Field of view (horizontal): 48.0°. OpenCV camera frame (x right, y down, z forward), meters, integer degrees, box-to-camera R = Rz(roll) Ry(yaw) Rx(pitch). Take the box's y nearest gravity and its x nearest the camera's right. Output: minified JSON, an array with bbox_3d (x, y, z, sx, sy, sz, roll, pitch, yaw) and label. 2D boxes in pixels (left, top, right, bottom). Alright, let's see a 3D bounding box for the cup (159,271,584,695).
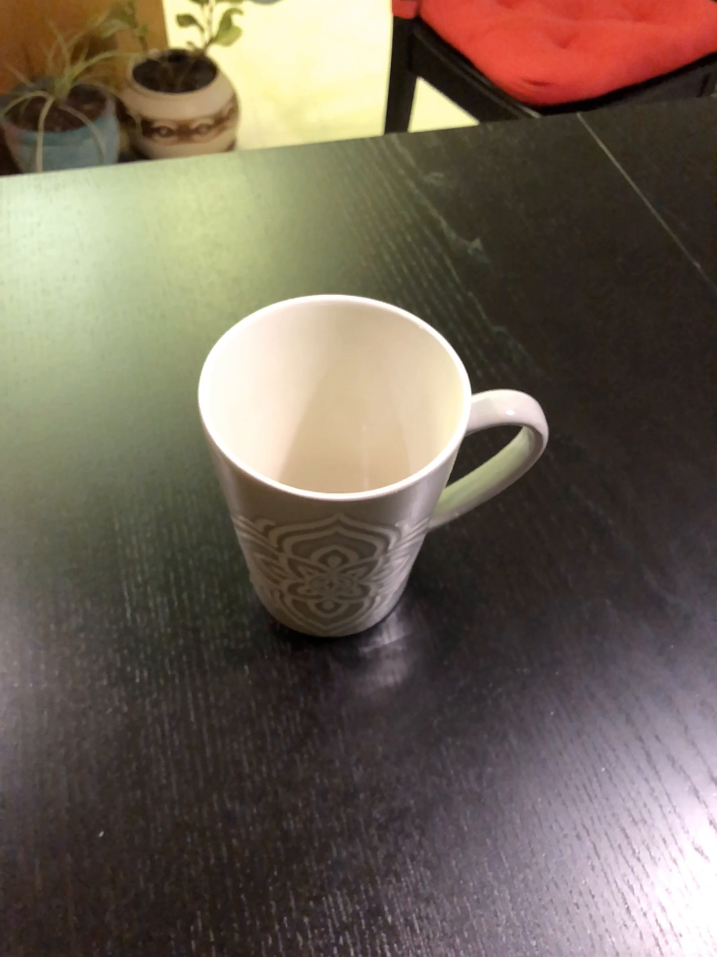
[{"bbox_3d":[-0.003,0.005,0.340,0.130,0.130,0.100,-11,55,-11],"label":"cup"}]
